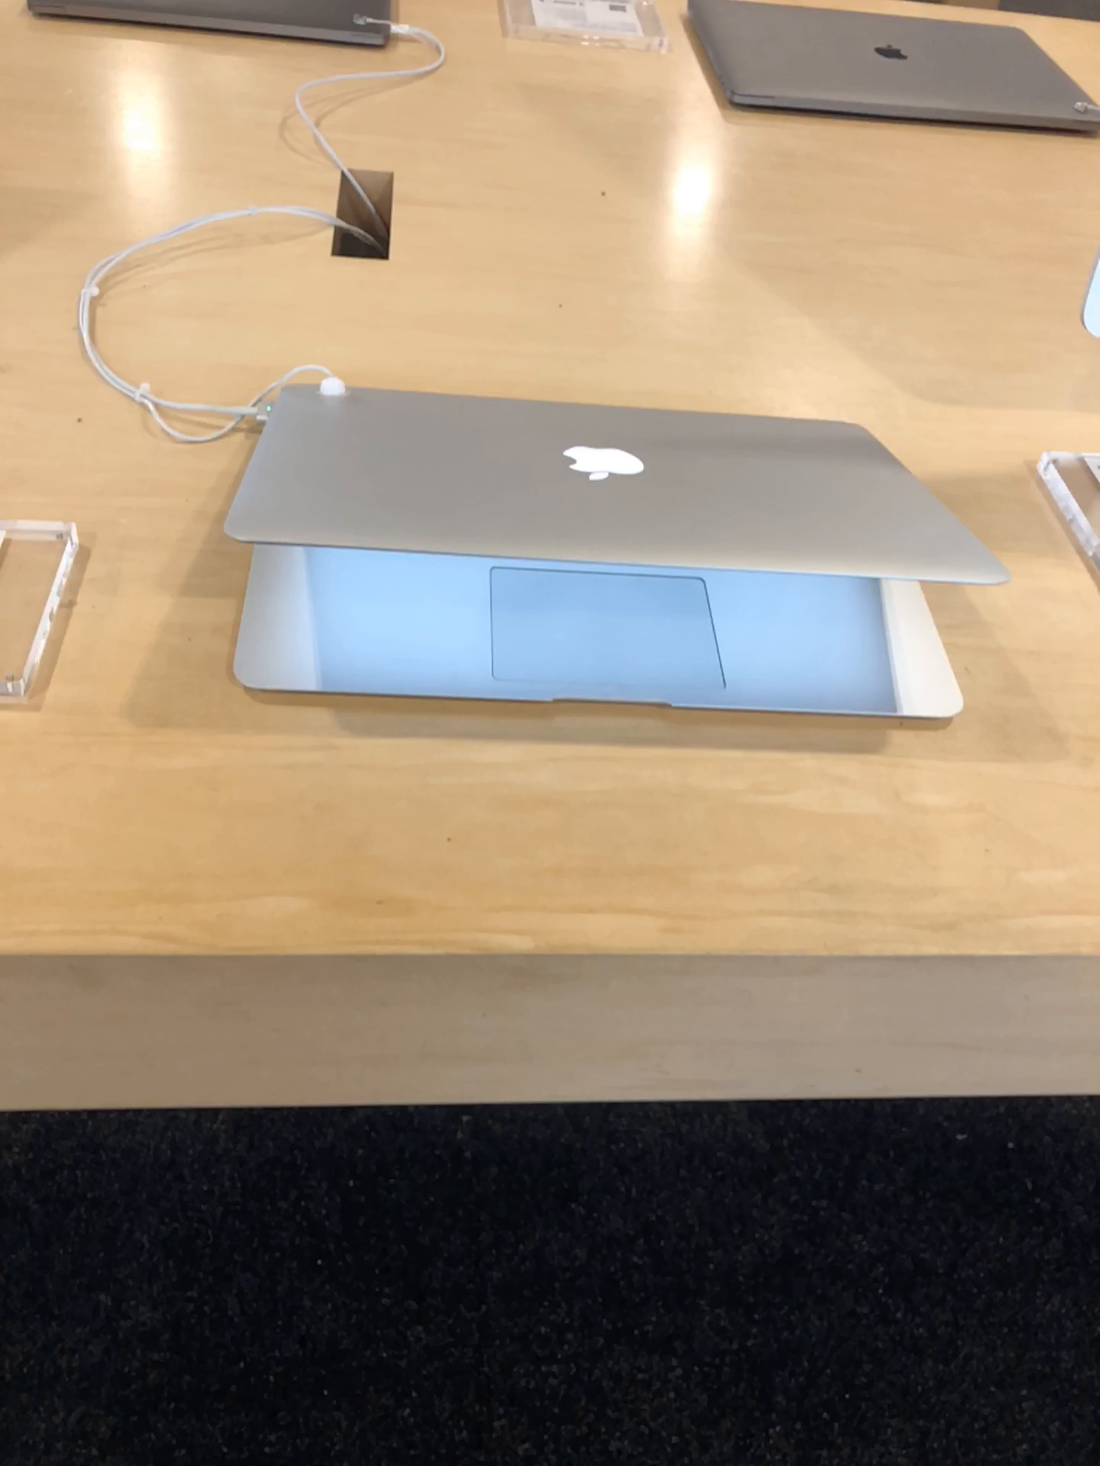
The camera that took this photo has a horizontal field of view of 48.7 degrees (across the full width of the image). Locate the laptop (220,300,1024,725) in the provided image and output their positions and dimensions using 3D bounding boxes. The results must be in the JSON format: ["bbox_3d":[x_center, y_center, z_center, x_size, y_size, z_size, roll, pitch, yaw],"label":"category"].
[{"bbox_3d":[0.023,-0.110,0.569,0.315,0.067,0.216,2,46,-6],"label":"laptop"}]
